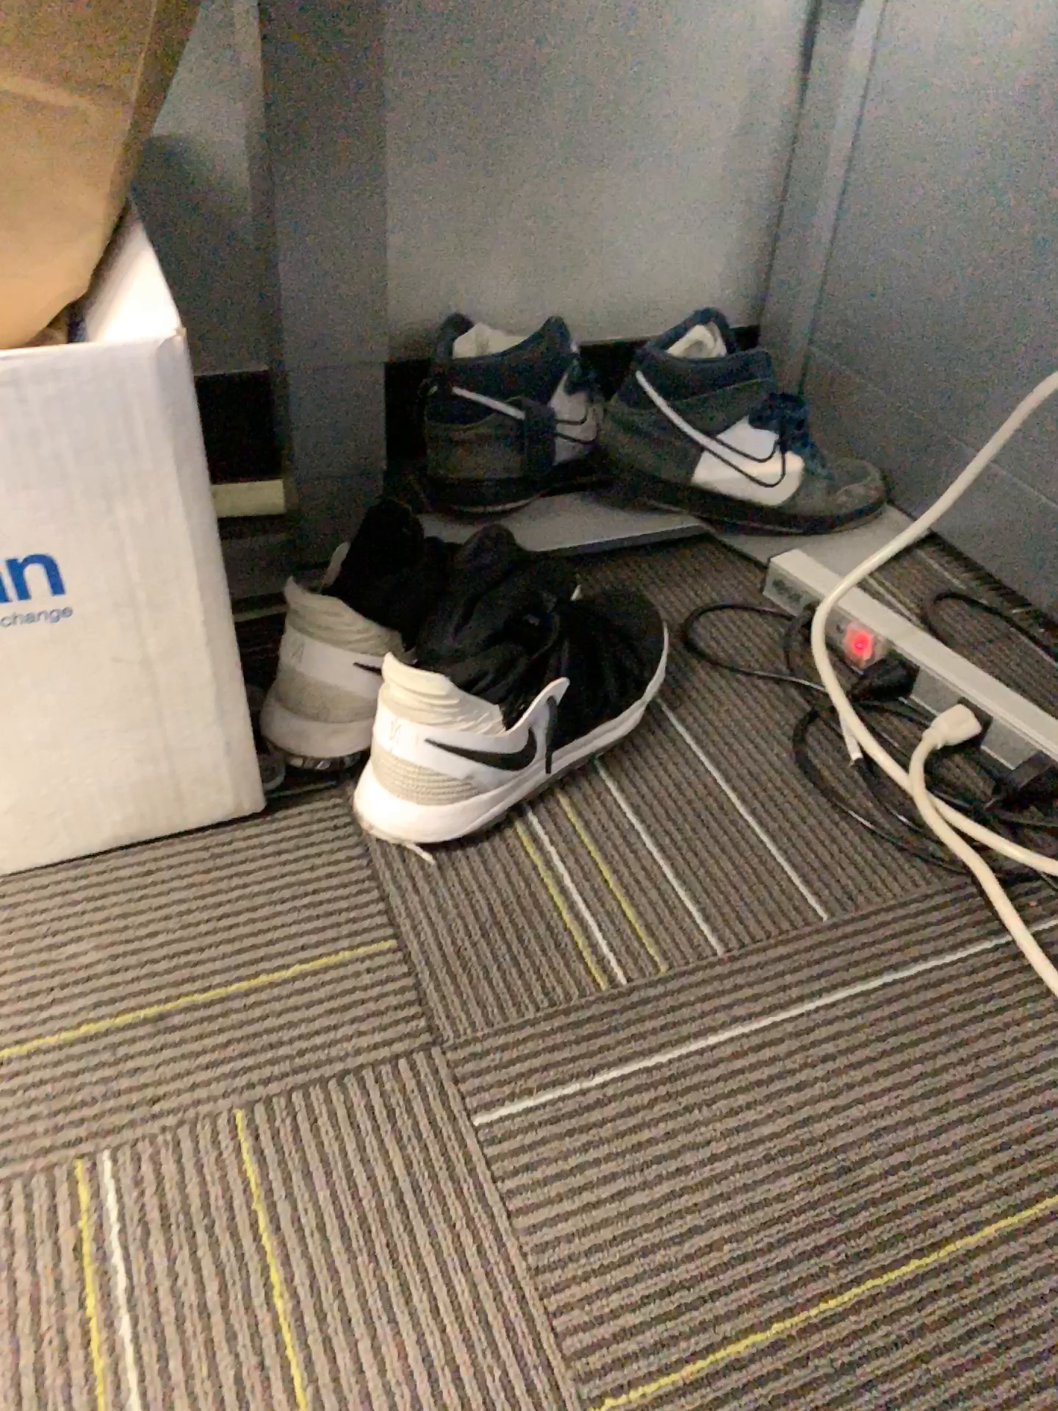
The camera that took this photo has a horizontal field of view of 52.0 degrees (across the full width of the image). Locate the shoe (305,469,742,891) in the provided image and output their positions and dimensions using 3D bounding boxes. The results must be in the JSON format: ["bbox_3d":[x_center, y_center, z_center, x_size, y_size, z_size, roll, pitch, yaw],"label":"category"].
[{"bbox_3d":[0.005,-0.030,0.700,0.100,0.129,0.291,31,46,28],"label":"shoe"}]

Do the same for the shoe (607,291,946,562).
[{"bbox_3d":[0.220,-0.262,1.024,0.260,0.159,0.131,11,39,-5],"label":"shoe"}]

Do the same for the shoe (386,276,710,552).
[{"bbox_3d":[0.025,-0.294,1.048,0.130,0.169,0.331,26,36,25],"label":"shoe"}]

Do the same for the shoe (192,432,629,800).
[{"bbox_3d":[-0.072,-0.076,0.773,0.100,0.129,0.301,34,47,31],"label":"shoe"}]
